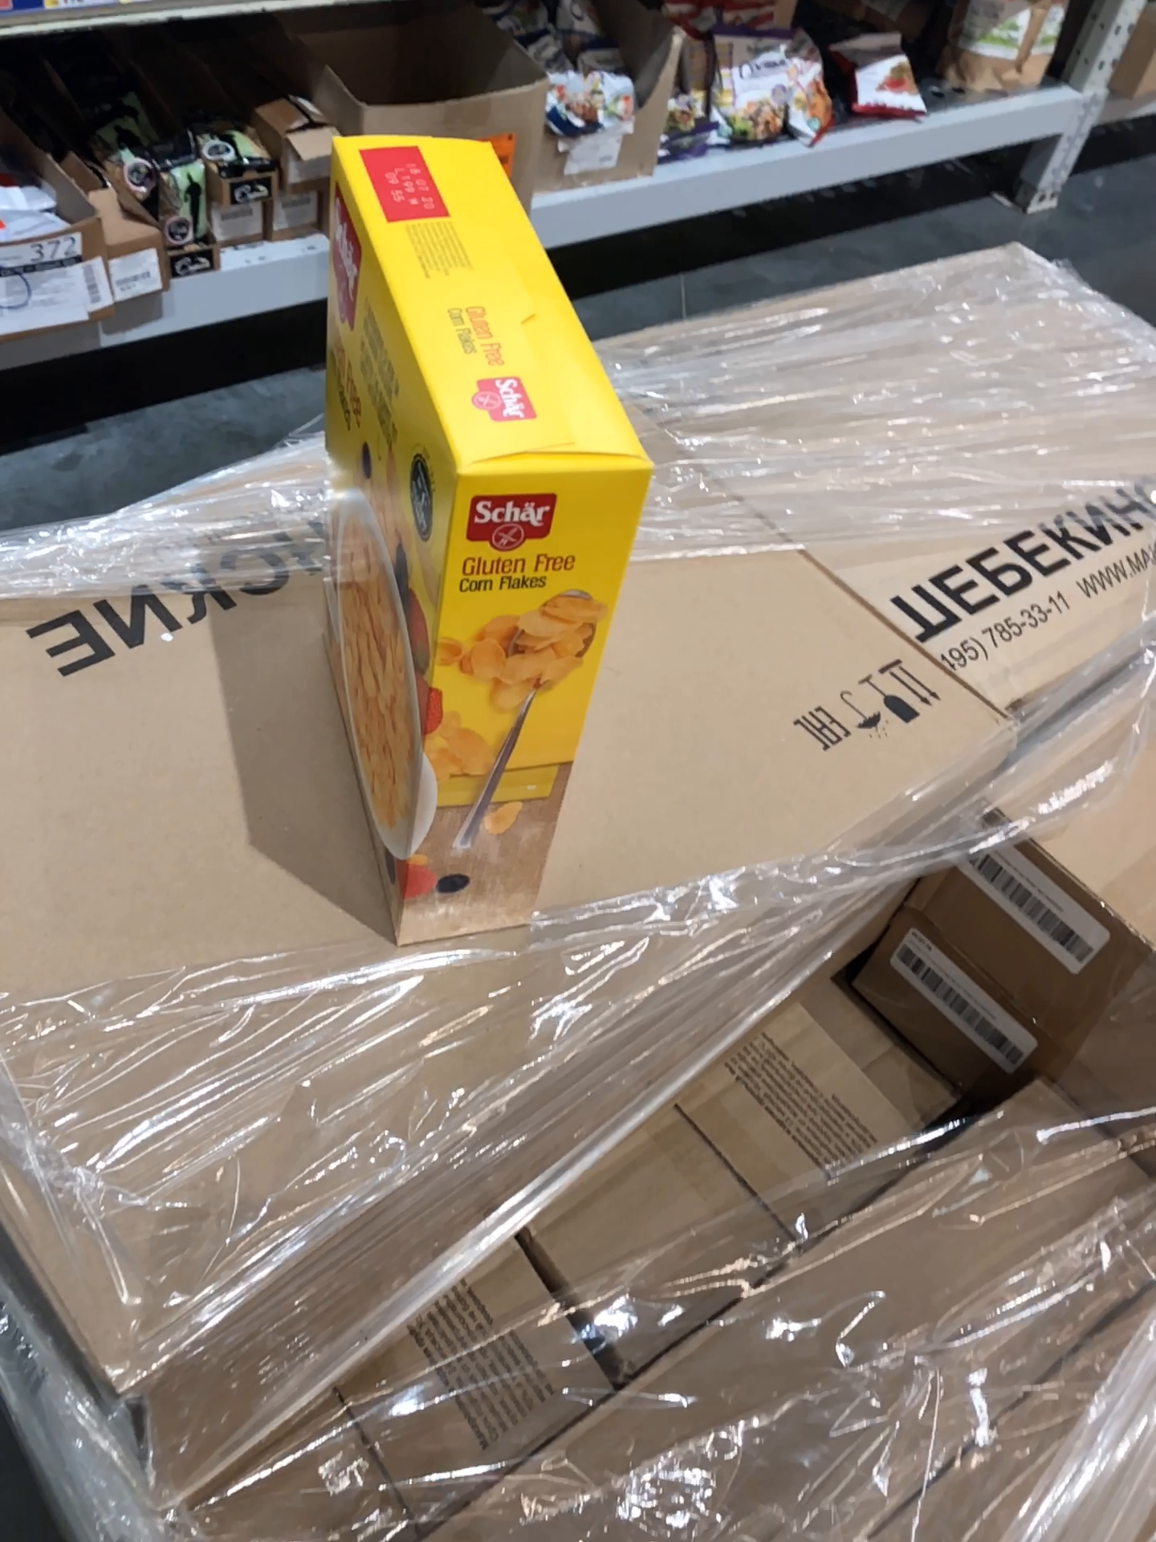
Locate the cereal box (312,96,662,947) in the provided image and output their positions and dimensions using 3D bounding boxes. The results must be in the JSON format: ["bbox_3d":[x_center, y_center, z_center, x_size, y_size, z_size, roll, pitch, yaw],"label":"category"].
[{"bbox_3d":[-0.055,-0.086,0.494,0.060,0.248,0.201,-7,54,-18],"label":"cereal box"}]
